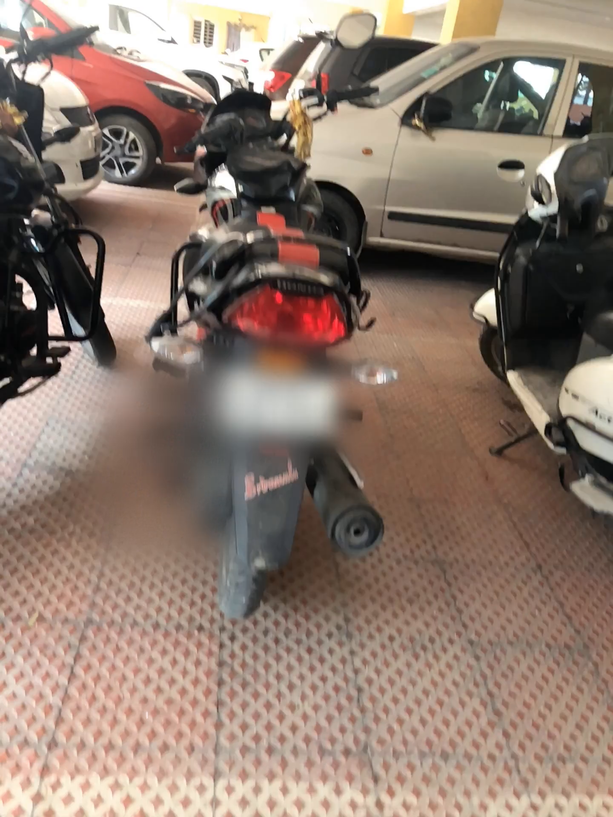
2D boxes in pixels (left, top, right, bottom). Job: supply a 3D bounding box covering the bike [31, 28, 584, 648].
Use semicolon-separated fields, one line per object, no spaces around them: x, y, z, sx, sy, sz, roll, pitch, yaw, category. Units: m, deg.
-0.249;-0.356;1.771;0.746;1.011;1.560;1;28;-16;bike
